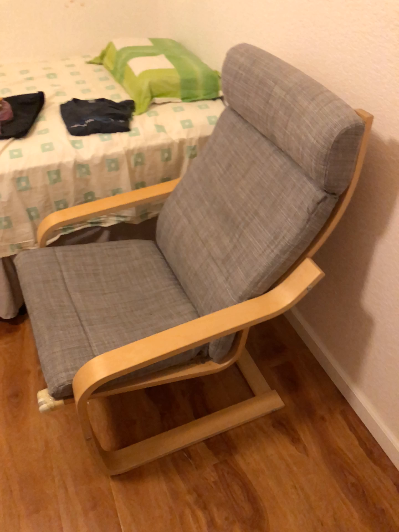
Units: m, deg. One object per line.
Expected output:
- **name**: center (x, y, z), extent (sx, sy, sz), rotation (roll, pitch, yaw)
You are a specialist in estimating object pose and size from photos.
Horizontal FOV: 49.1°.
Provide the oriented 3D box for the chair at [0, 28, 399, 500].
- **chair**: center (-0.078, -0.034, 1.185), extent (0.801, 0.885, 0.683), rotation (-14, 44, -16)
